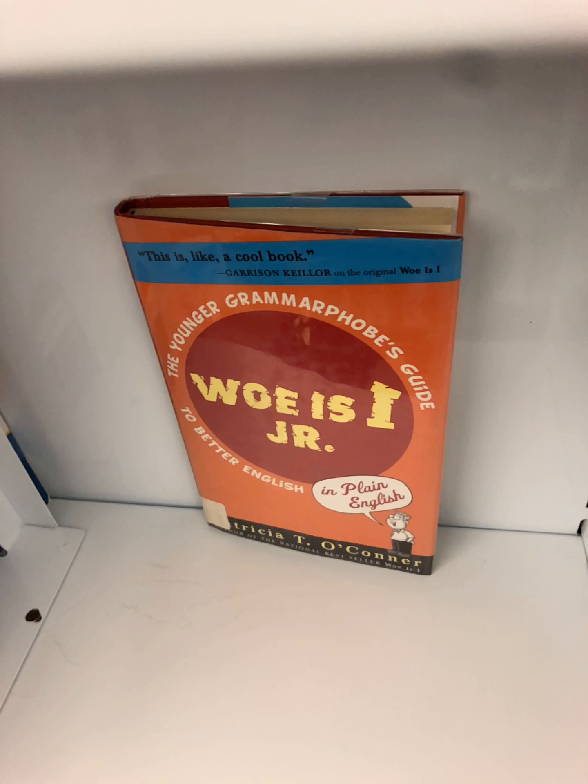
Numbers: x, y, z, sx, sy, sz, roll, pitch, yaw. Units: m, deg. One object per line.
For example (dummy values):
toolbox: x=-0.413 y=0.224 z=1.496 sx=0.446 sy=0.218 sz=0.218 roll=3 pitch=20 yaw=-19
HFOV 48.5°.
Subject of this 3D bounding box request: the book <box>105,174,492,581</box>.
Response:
book: x=0.009 y=0.004 z=0.304 sx=0.137 sy=0.199 sz=0.038 roll=5 pitch=42 yaw=13
